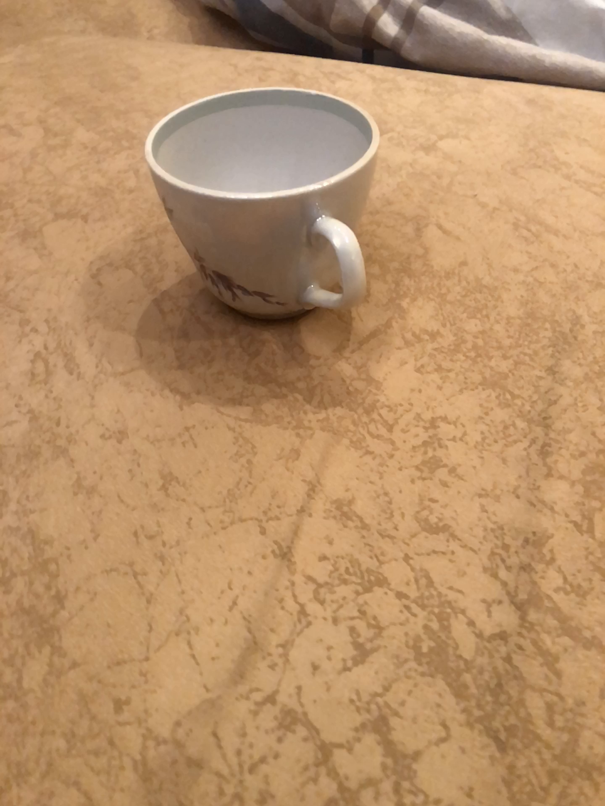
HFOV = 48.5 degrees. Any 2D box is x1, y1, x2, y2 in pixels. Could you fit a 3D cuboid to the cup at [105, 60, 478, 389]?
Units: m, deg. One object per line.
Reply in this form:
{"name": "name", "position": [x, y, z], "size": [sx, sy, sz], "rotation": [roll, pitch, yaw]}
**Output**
{"name": "cup", "position": [-0.007, -0.077, 0.266], "size": [0.090, 0.060, 0.110], "rotation": [-27, 51, -22]}
